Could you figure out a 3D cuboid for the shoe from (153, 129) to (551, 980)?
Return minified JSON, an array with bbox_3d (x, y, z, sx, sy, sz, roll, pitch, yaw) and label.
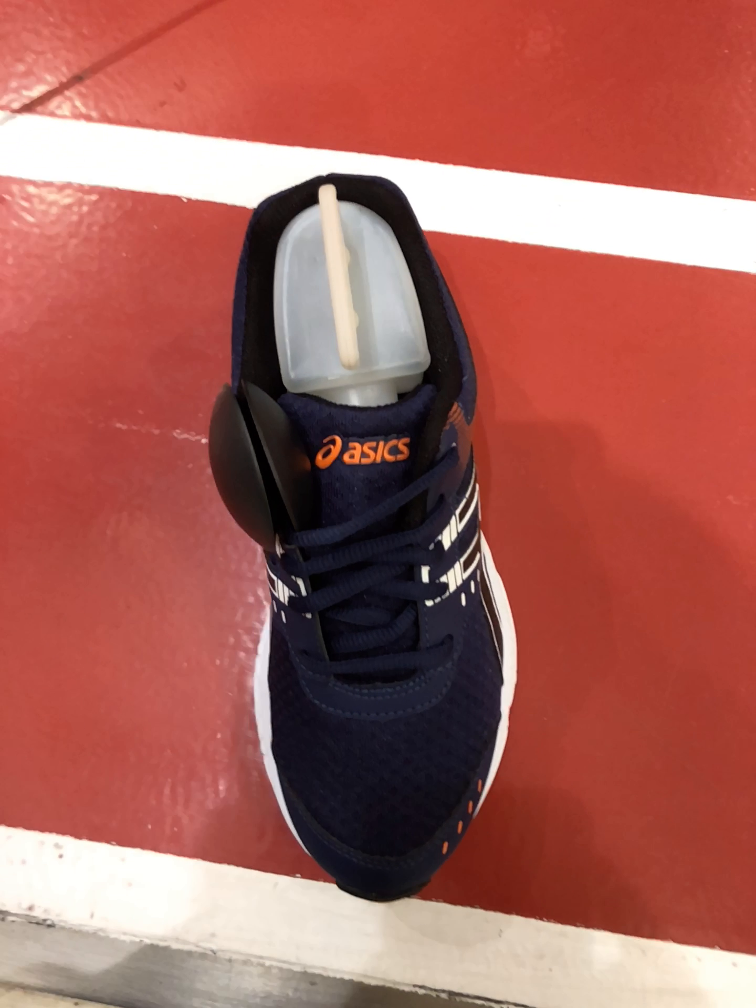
[{"bbox_3d":[-0.011,0.013,0.291,0.100,0.100,0.240,-4,79,2],"label":"shoe"}]
